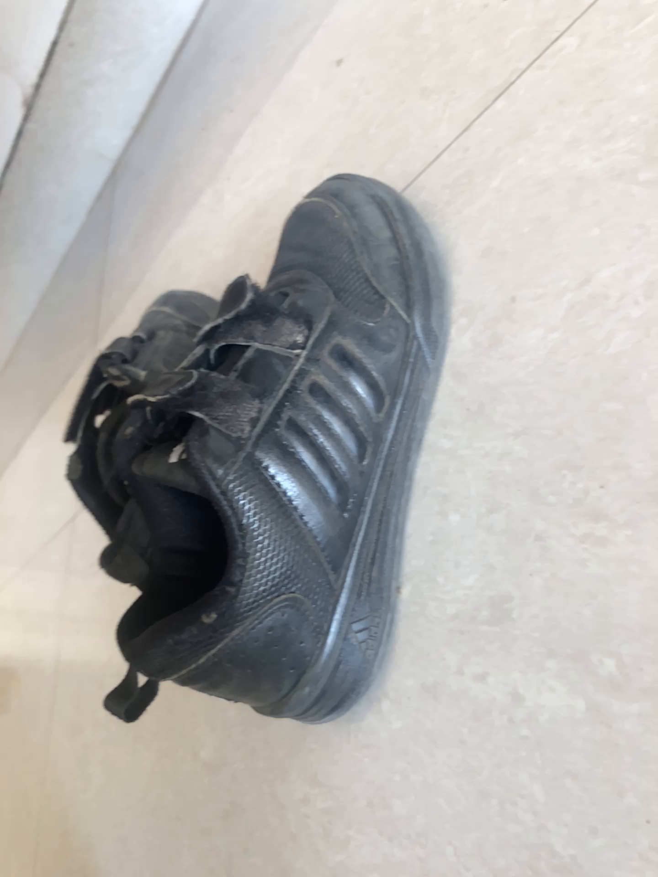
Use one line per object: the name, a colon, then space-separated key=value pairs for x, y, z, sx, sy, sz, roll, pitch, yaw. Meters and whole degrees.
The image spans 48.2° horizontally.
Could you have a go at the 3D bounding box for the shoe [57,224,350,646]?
shoe: x=-0.079 y=-0.011 z=0.376 sx=0.100 sy=0.080 sz=0.201 roll=-58 pitch=35 yaw=26

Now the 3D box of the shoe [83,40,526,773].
shoe: x=-0.008 y=-0.005 z=0.280 sx=0.101 sy=0.099 sz=0.220 roll=-9 pitch=70 yaw=56
